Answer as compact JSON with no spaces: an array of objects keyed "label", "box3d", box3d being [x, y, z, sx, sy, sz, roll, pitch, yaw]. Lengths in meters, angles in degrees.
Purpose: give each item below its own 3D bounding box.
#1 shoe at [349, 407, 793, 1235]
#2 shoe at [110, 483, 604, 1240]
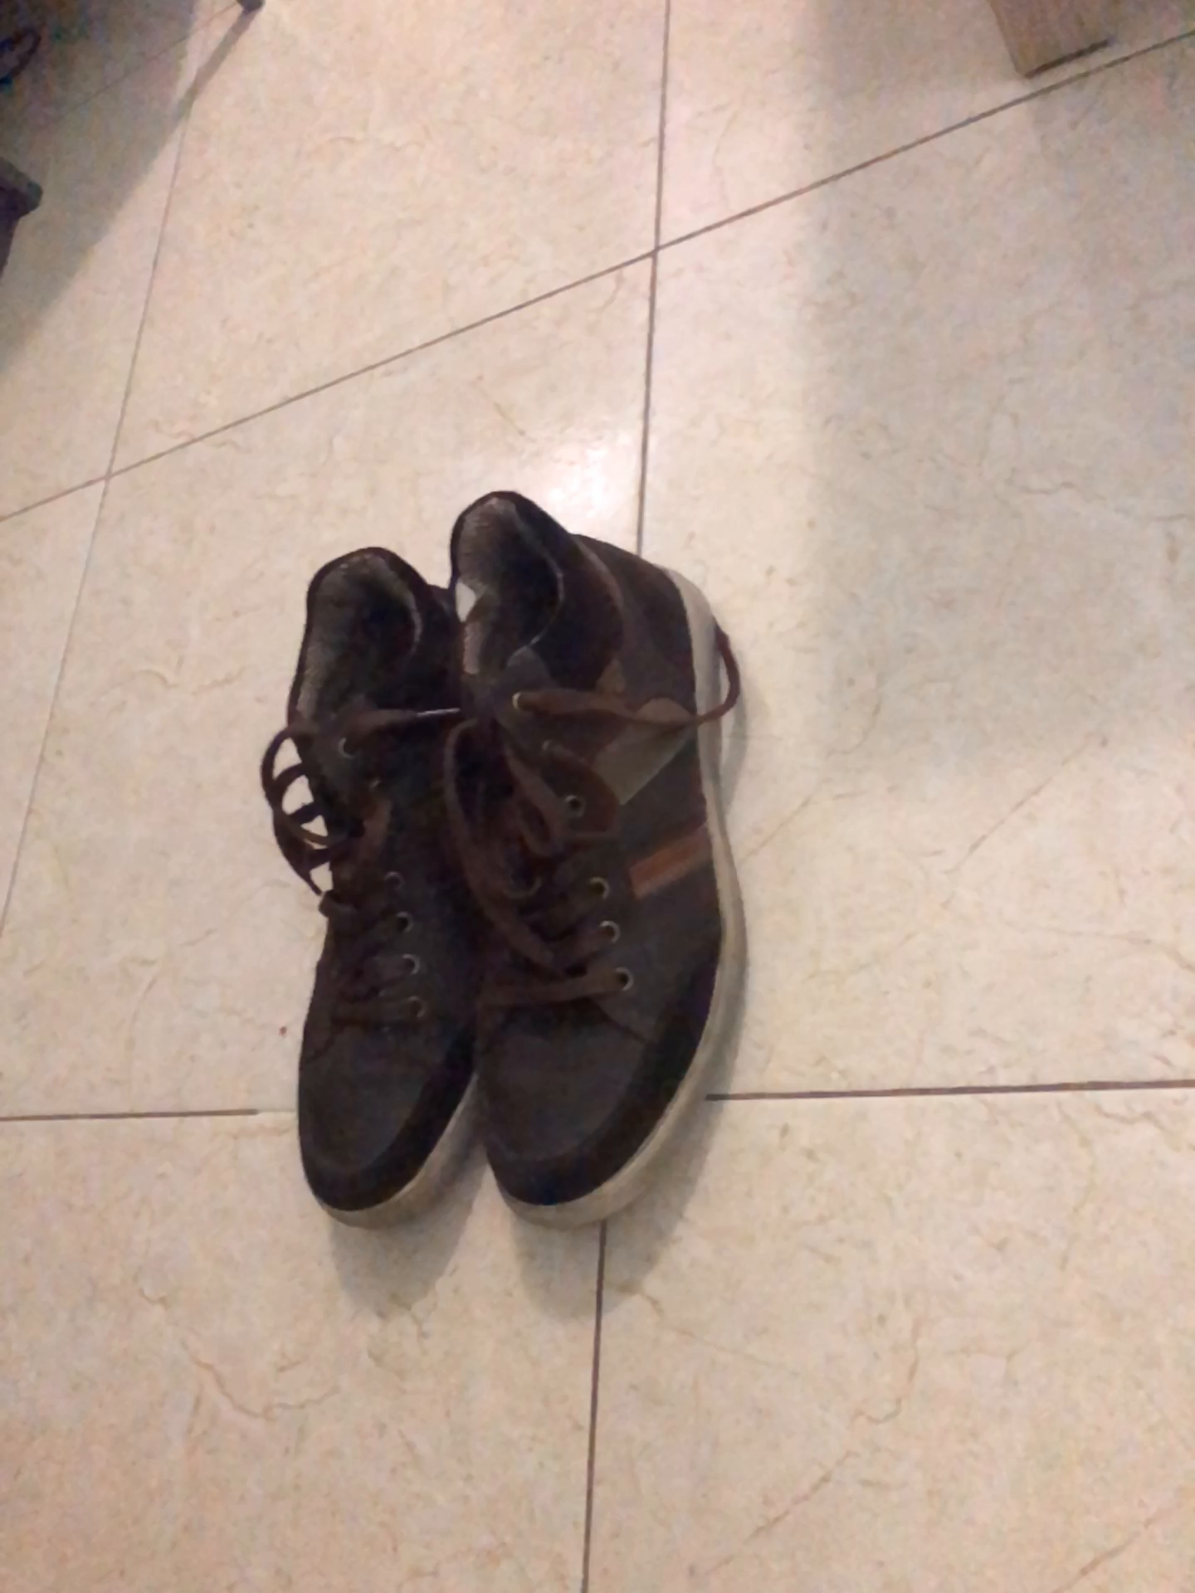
[{"label":"shoe","box3d":[-0.007,0.014,0.538,0.120,0.109,0.300,-14,63,29]},{"label":"shoe","box3d":[-0.097,0.029,0.590,0.121,0.109,0.300,-4,68,33]}]
